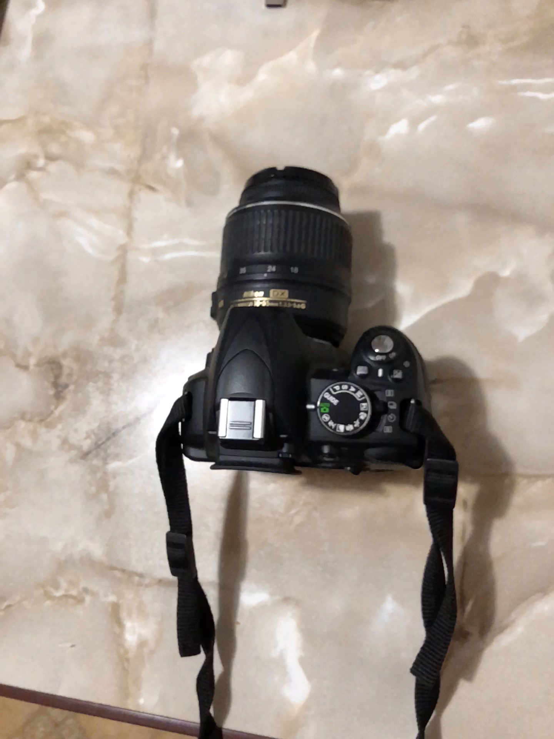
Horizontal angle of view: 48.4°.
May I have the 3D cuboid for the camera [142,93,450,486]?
[{"bbox_3d":[0.020,-0.028,0.306,0.126,0.100,0.160,0,81,15],"label":"camera"}]
